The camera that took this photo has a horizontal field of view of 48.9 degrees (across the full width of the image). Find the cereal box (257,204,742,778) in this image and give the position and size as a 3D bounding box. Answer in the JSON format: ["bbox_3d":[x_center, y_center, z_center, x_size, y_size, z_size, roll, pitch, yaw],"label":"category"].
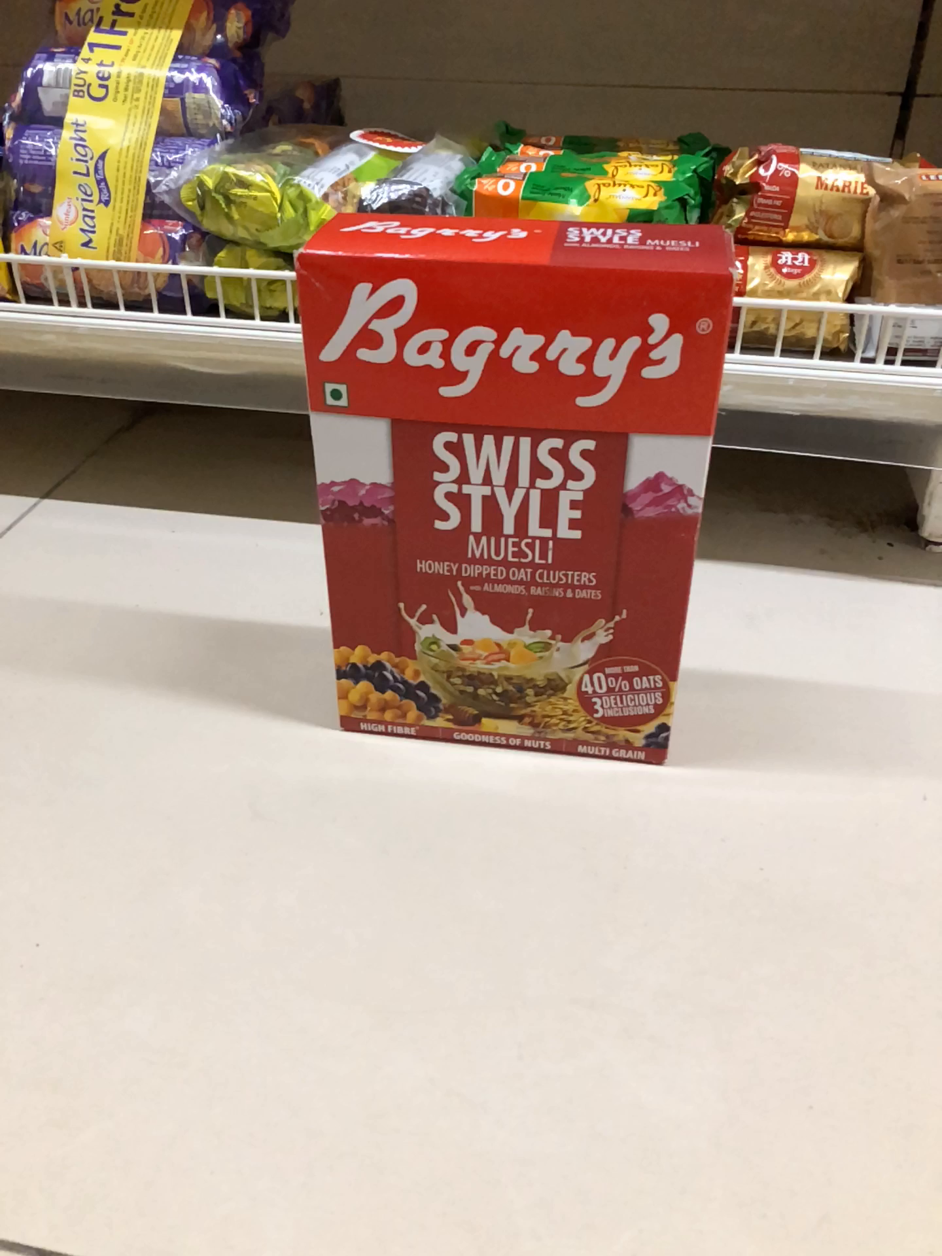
[{"bbox_3d":[0.013,-0.056,0.497,0.190,0.258,0.060,6,34,8],"label":"cereal box"}]
